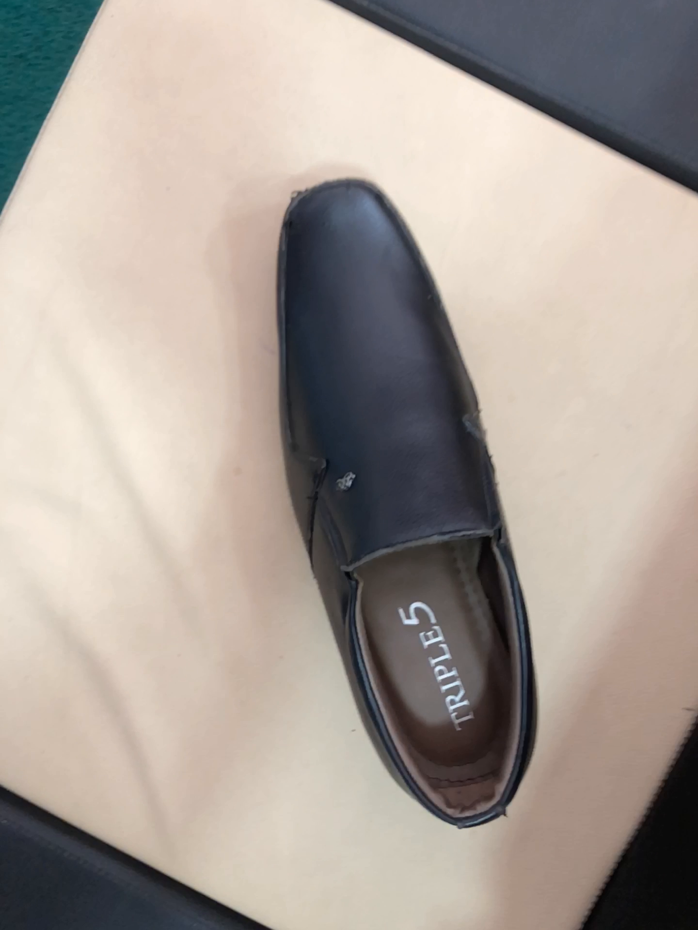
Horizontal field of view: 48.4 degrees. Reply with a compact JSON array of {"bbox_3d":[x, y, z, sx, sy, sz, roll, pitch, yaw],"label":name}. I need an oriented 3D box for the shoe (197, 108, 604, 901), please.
[{"bbox_3d":[0.023,0.017,0.352,0.100,0.090,0.300,-12,92,2],"label":"shoe"}]
